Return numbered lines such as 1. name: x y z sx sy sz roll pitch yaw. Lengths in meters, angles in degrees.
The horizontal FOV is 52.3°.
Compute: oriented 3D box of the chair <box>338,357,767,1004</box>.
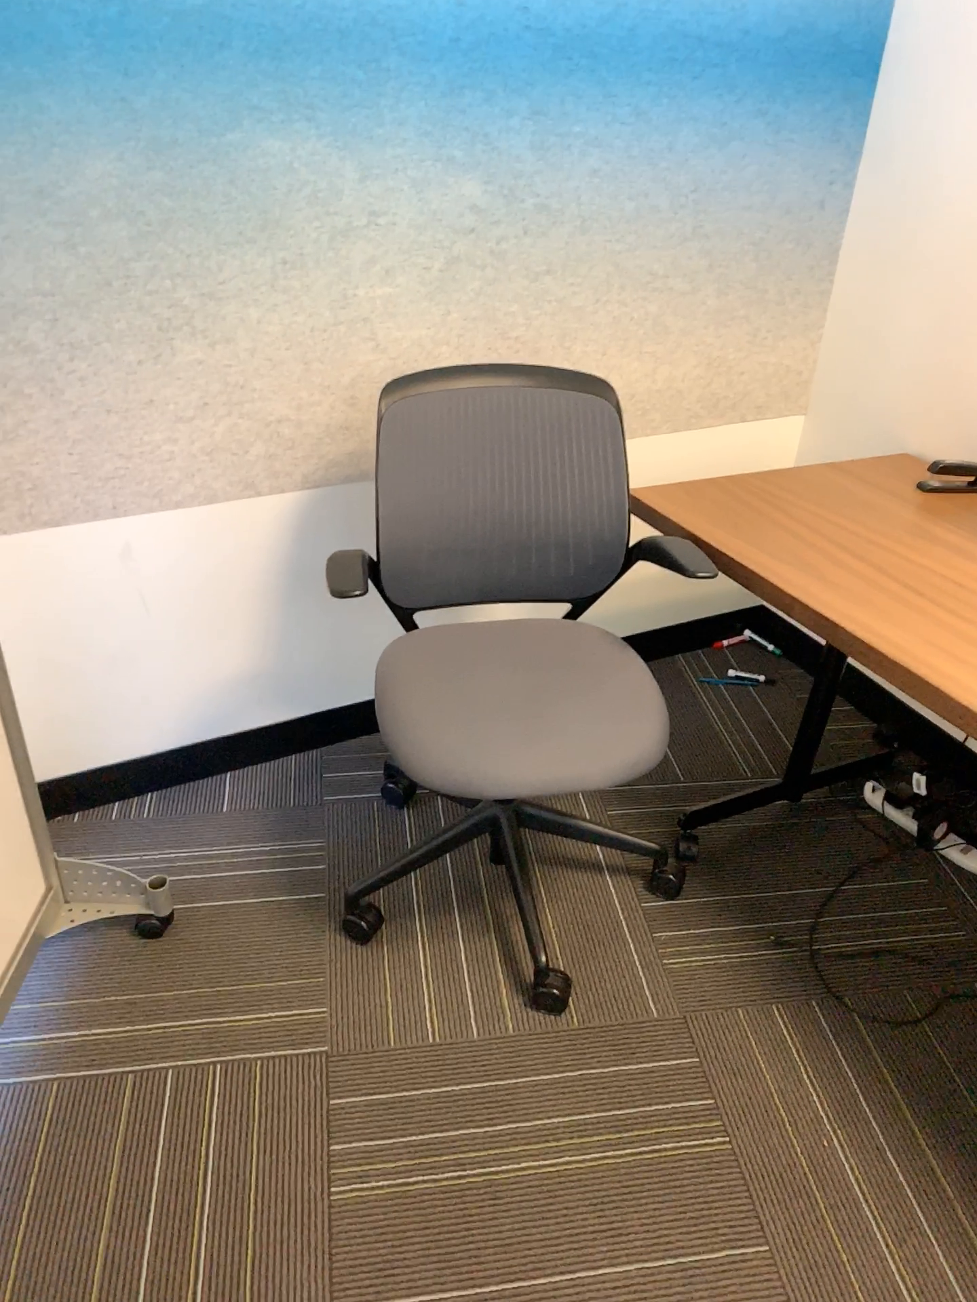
1. chair: 0.035 0.042 1.691 0.540 0.935 0.533 -1 29 -7
